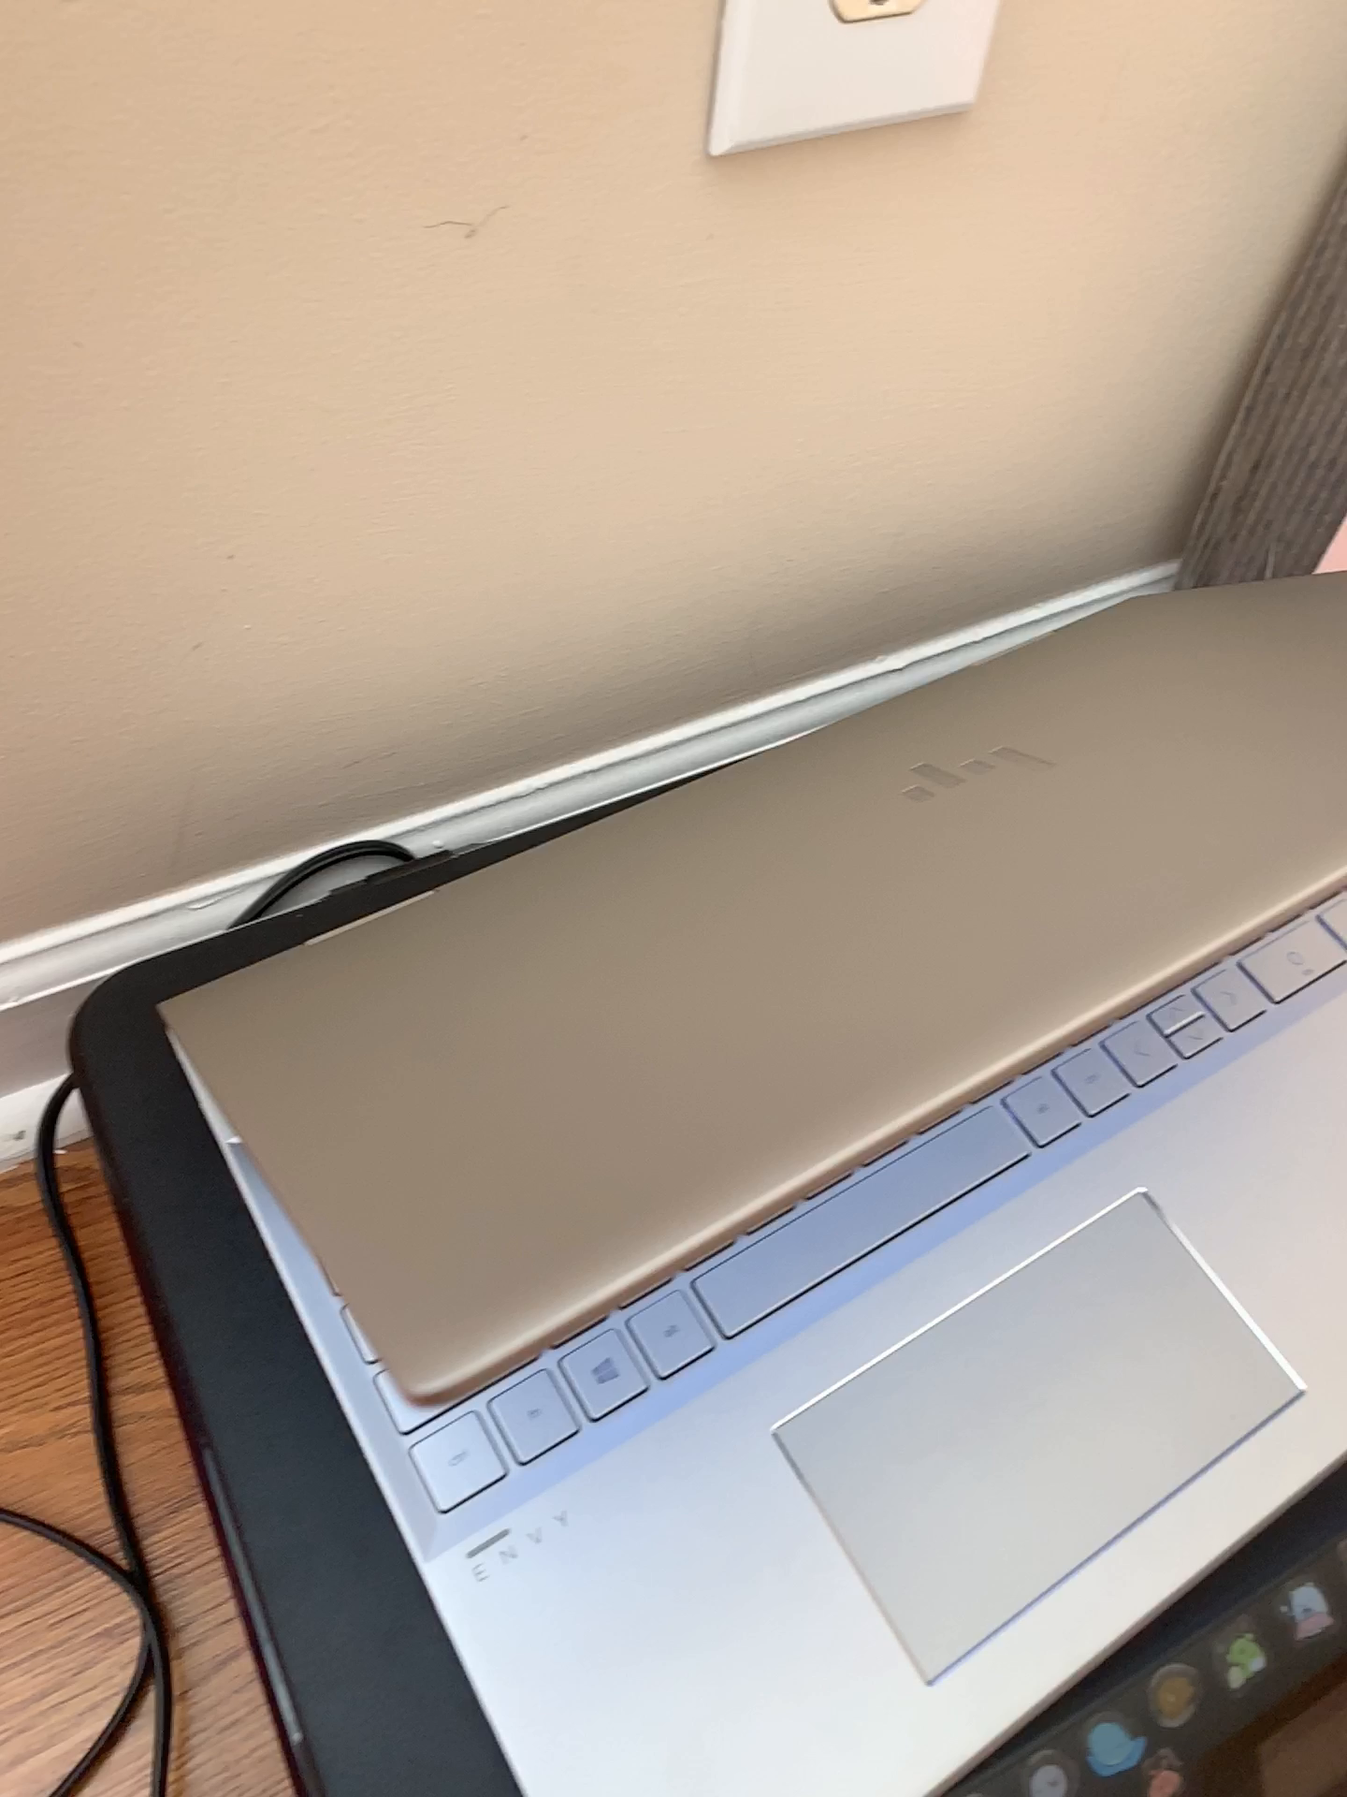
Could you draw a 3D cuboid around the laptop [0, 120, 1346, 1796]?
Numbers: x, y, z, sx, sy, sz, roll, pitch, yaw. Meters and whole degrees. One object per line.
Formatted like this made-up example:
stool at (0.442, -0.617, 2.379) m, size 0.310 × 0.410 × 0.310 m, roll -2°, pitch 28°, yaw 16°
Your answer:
laptop at (0.089, 0.004, 0.301) m, size 0.351 × 0.169 × 0.237 m, roll -24°, pitch 61°, yaw -22°
